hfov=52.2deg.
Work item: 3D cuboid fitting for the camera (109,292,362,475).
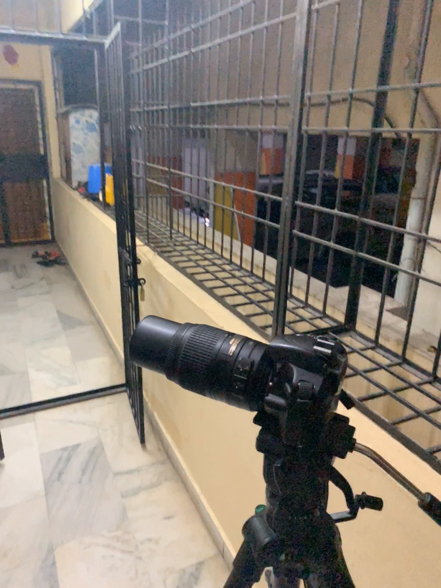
[{"bbox_3d":[0.015,0.078,0.476,0.230,0.090,0.120,11,22,24],"label":"camera"}]
